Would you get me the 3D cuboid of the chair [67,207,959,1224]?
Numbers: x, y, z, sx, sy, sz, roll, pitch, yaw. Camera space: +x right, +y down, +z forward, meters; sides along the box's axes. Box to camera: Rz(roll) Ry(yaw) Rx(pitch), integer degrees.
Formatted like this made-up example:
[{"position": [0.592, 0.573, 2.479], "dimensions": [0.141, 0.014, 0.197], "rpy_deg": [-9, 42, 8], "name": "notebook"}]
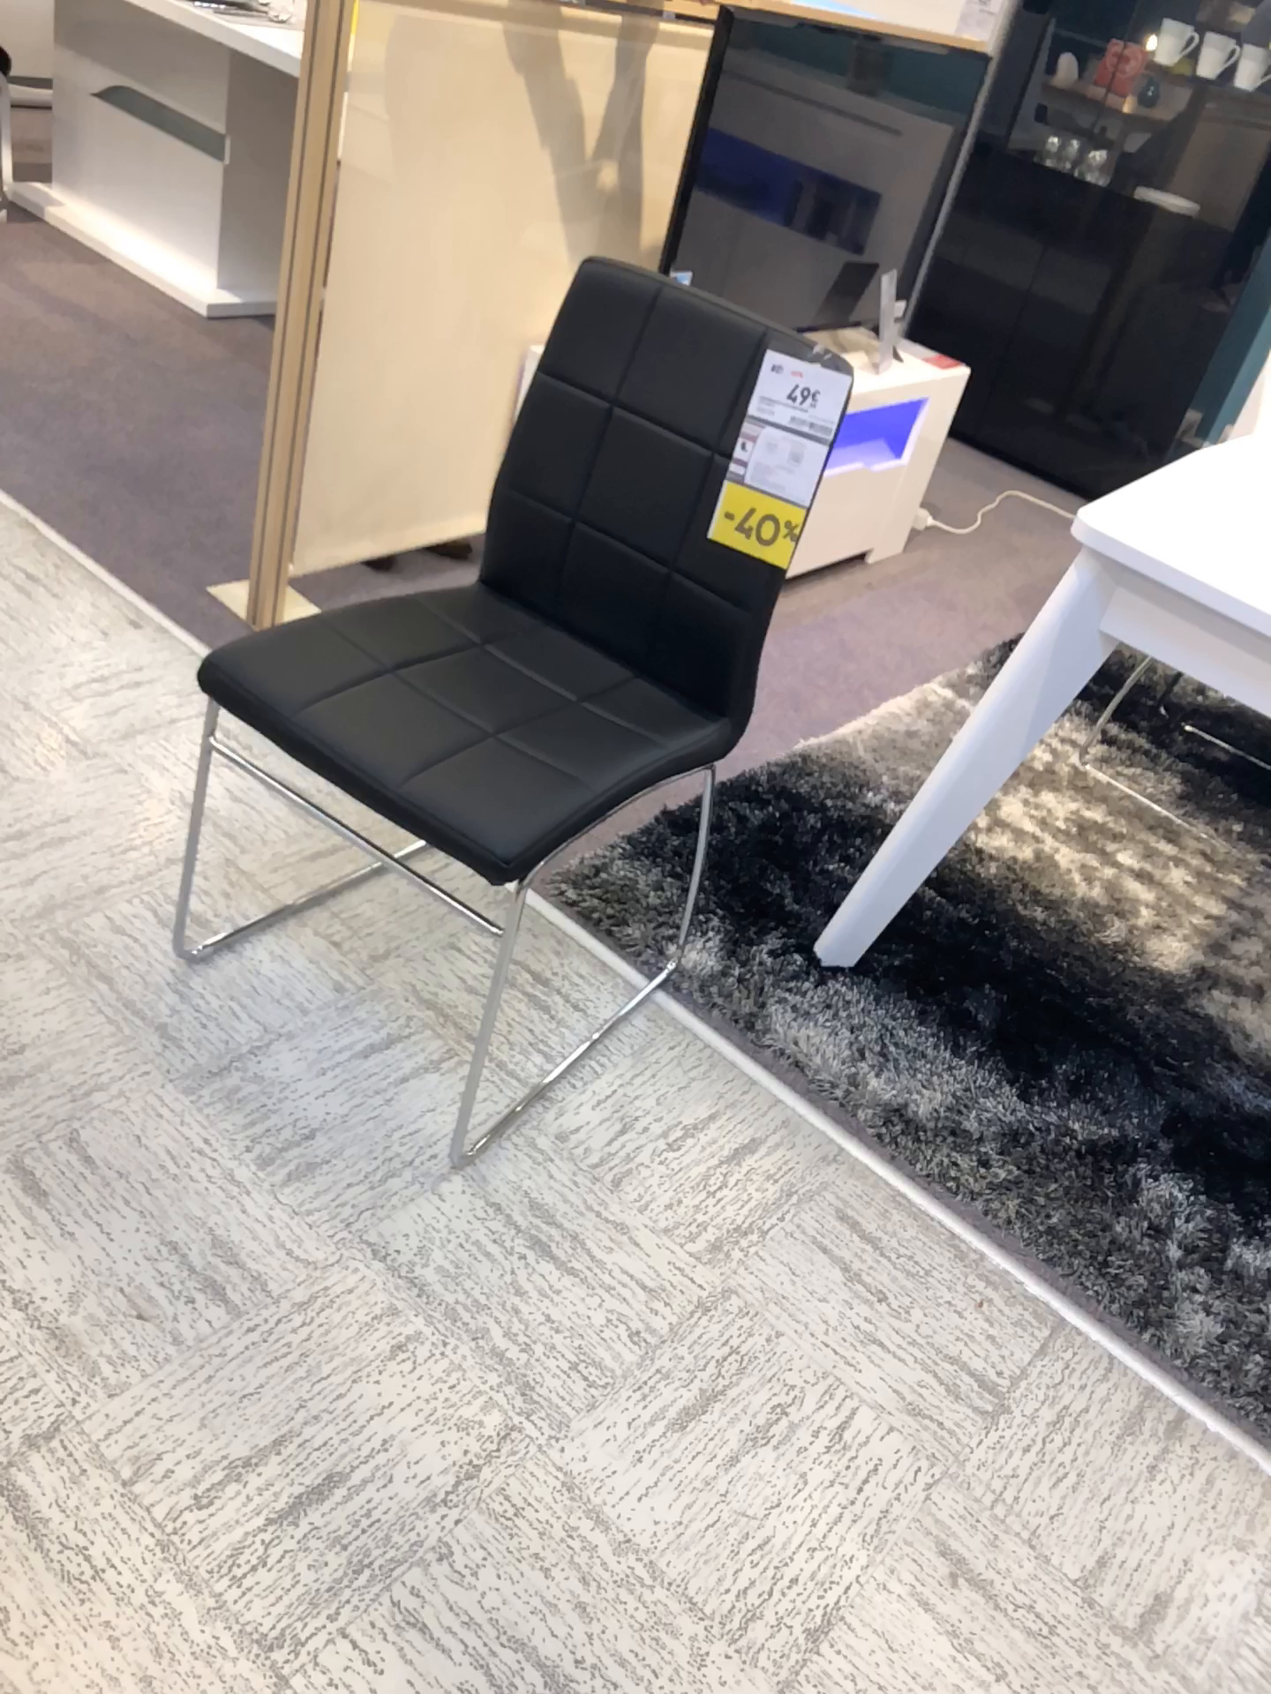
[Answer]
[{"position": [-0.166, -0.185, 1.516], "dimensions": [0.550, 0.795, 0.634], "rpy_deg": [34, 37, 25], "name": "chair"}]
